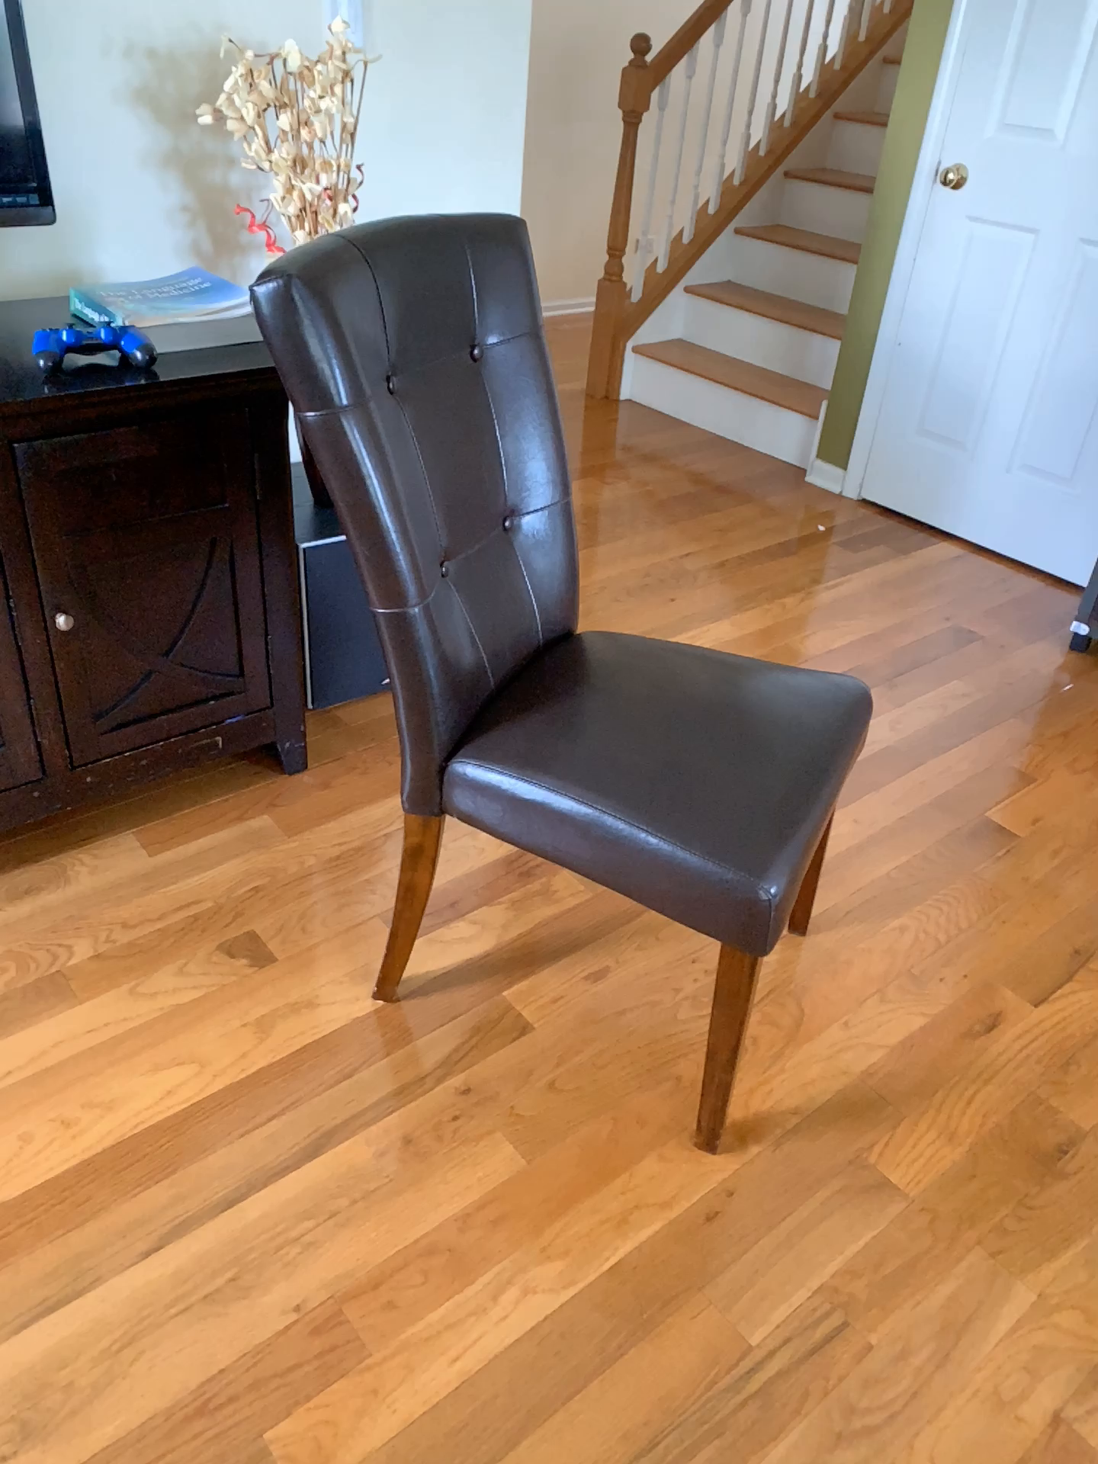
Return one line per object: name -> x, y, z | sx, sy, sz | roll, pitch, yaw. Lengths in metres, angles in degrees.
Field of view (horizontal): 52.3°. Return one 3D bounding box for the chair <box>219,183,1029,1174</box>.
chair -> 0.071, -0.089, 1.405 | 0.702, 0.968, 0.501 | 17, 34, 18
